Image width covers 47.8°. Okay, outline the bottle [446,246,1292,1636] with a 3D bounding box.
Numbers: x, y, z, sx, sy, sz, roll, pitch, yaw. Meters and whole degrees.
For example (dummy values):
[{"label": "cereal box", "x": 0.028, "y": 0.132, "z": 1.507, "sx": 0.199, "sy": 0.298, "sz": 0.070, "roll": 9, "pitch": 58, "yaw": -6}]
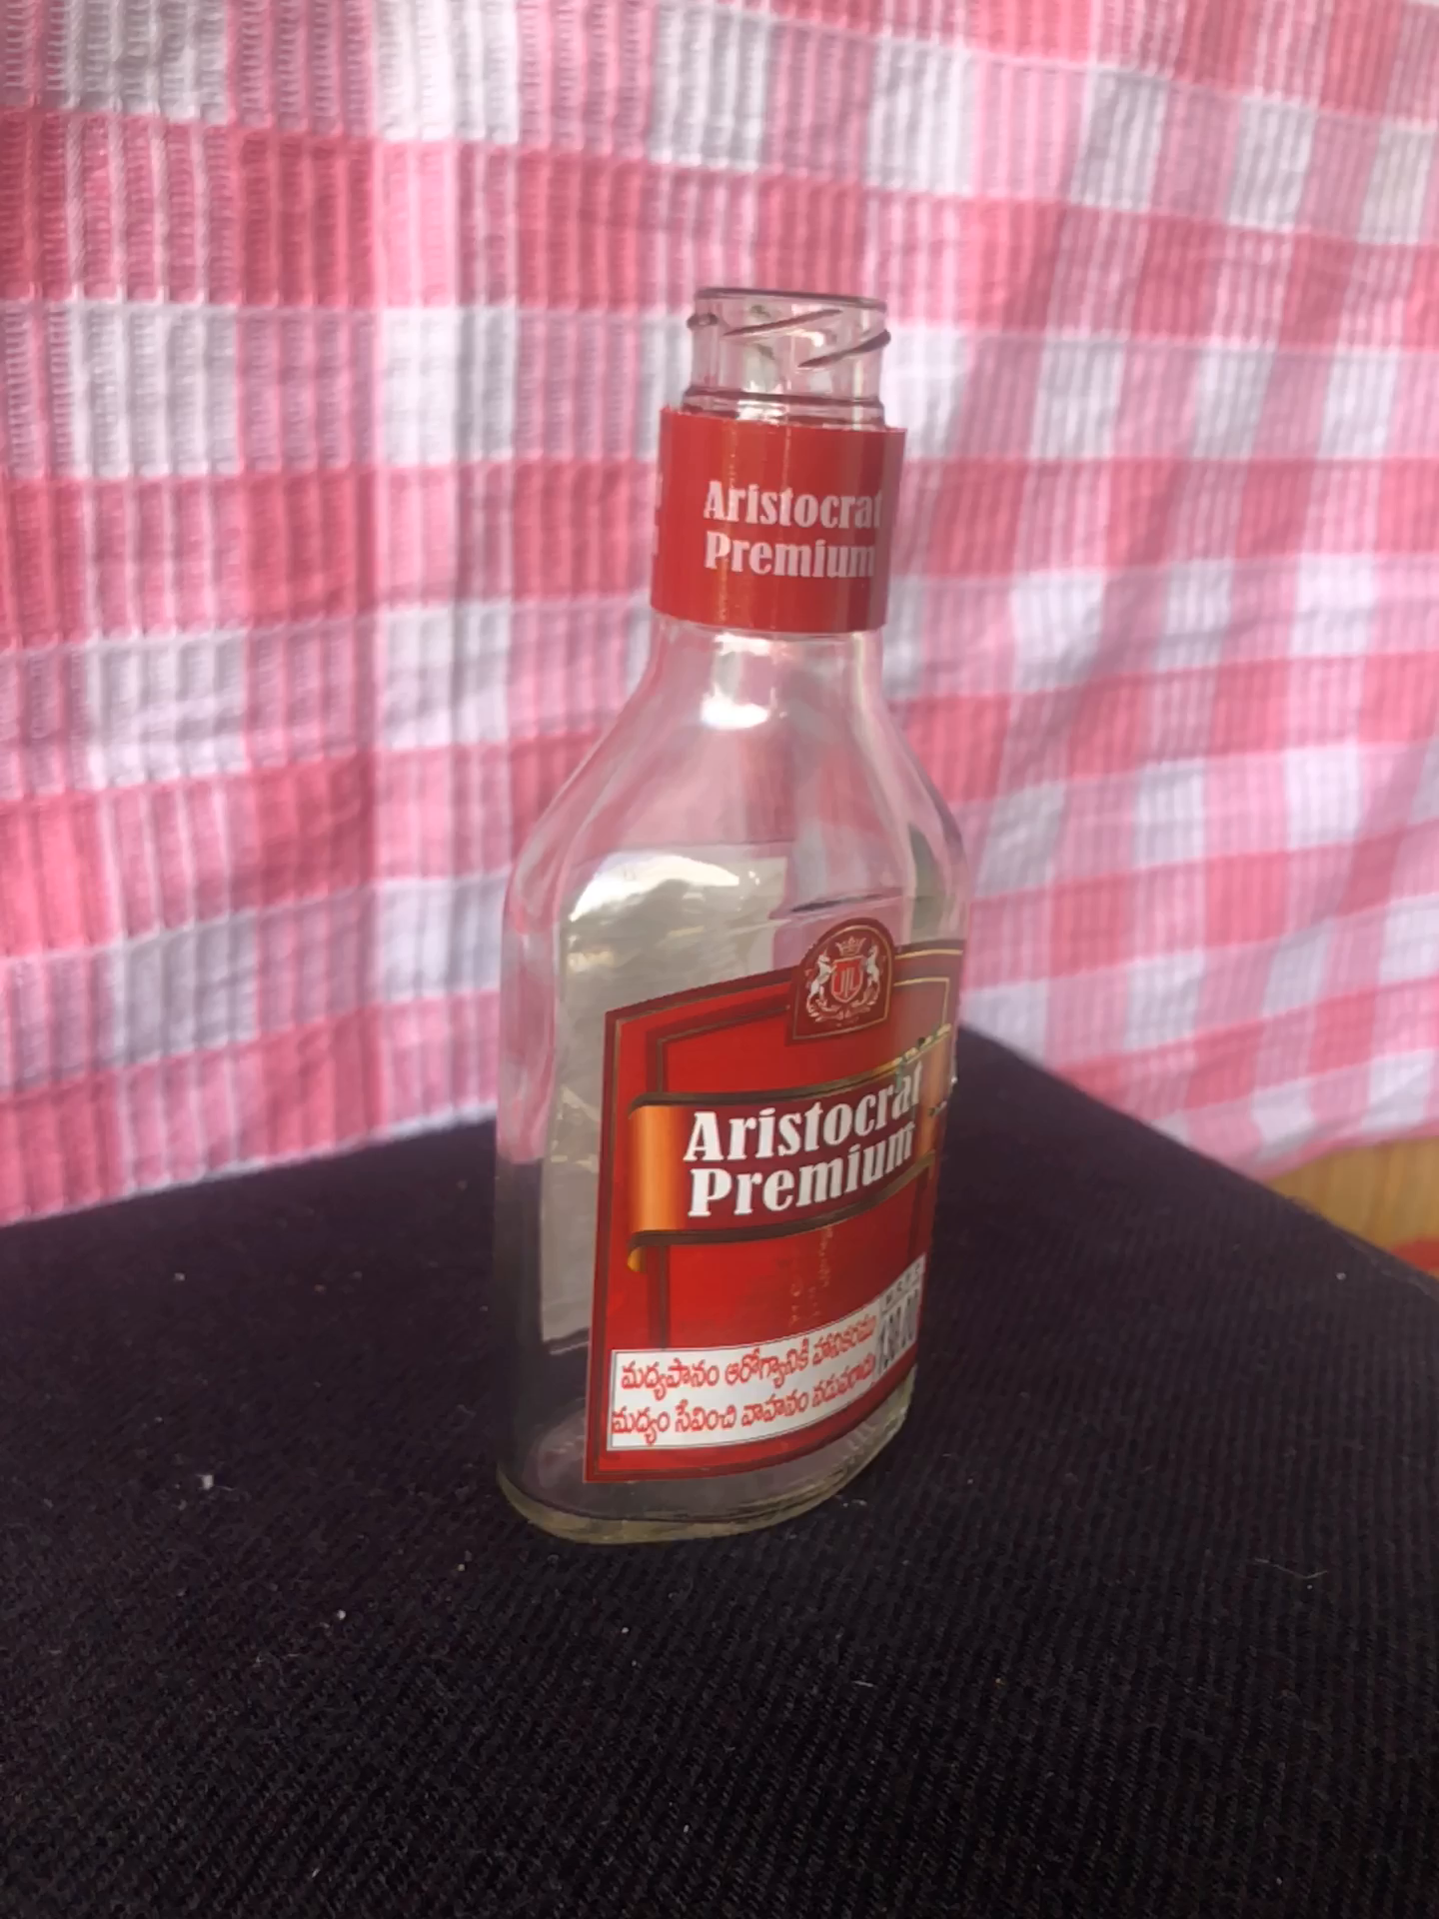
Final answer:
[{"label": "bottle", "x": 0.012, "y": -0.003, "z": 0.202, "sx": 0.070, "sy": 0.149, "sz": 0.050, "roll": -8, "pitch": 25, "yaw": -33}]
